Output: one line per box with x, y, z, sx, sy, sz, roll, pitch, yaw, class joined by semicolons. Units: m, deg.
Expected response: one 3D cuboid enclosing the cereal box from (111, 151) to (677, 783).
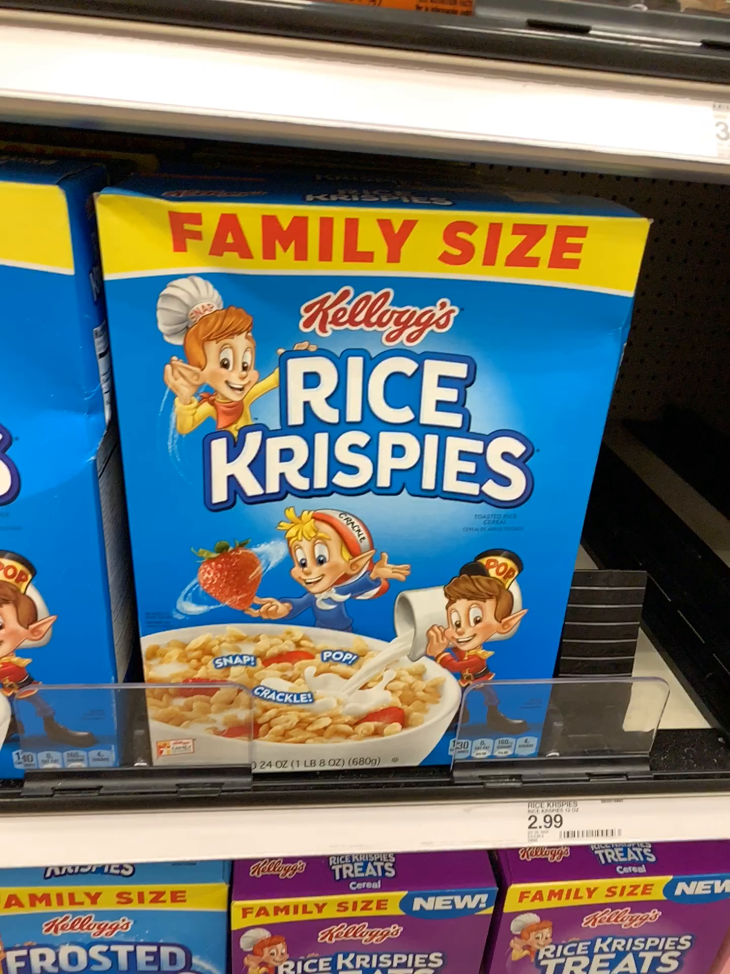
-0.001;0.004;0.446;0.250;0.348;0.100;1;27;-9;cereal box
